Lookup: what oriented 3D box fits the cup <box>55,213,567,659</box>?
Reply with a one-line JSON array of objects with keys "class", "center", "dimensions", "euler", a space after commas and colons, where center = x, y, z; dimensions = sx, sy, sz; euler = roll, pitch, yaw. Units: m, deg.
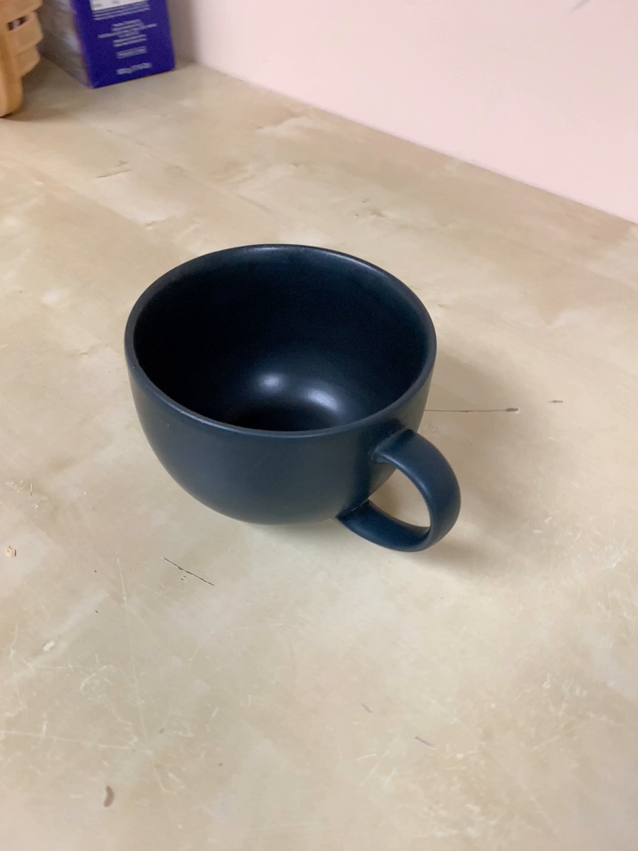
[{"class": "cup", "center": [-0.004, -0.012, 0.290], "dimensions": [0.159, 0.068, 0.136], "euler": [33, 53, 26]}]
